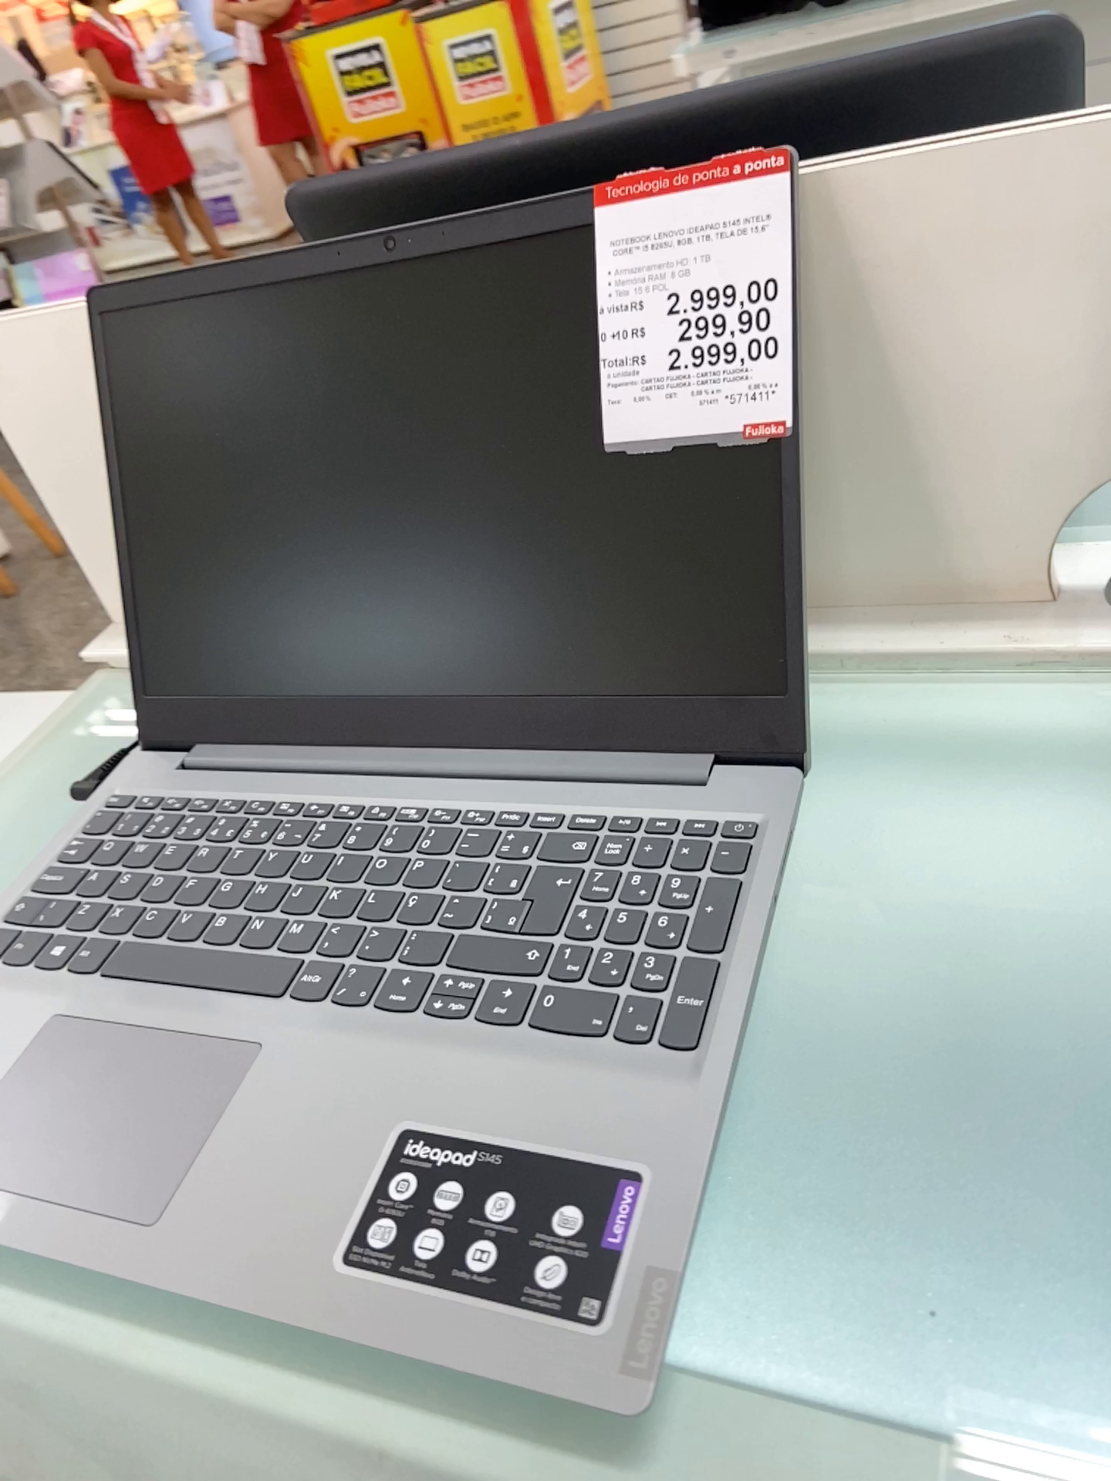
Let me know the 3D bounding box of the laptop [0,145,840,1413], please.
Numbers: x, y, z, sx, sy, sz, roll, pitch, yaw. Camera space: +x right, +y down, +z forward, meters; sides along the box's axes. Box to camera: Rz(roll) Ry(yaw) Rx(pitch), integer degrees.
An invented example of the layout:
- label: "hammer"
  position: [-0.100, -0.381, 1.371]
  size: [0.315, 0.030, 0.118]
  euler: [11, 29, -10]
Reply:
- label: "laptop"
  position: [-0.110, -0.031, 0.428]
  size: [0.354, 0.195, 0.371]
  euler: [0, 40, 24]
